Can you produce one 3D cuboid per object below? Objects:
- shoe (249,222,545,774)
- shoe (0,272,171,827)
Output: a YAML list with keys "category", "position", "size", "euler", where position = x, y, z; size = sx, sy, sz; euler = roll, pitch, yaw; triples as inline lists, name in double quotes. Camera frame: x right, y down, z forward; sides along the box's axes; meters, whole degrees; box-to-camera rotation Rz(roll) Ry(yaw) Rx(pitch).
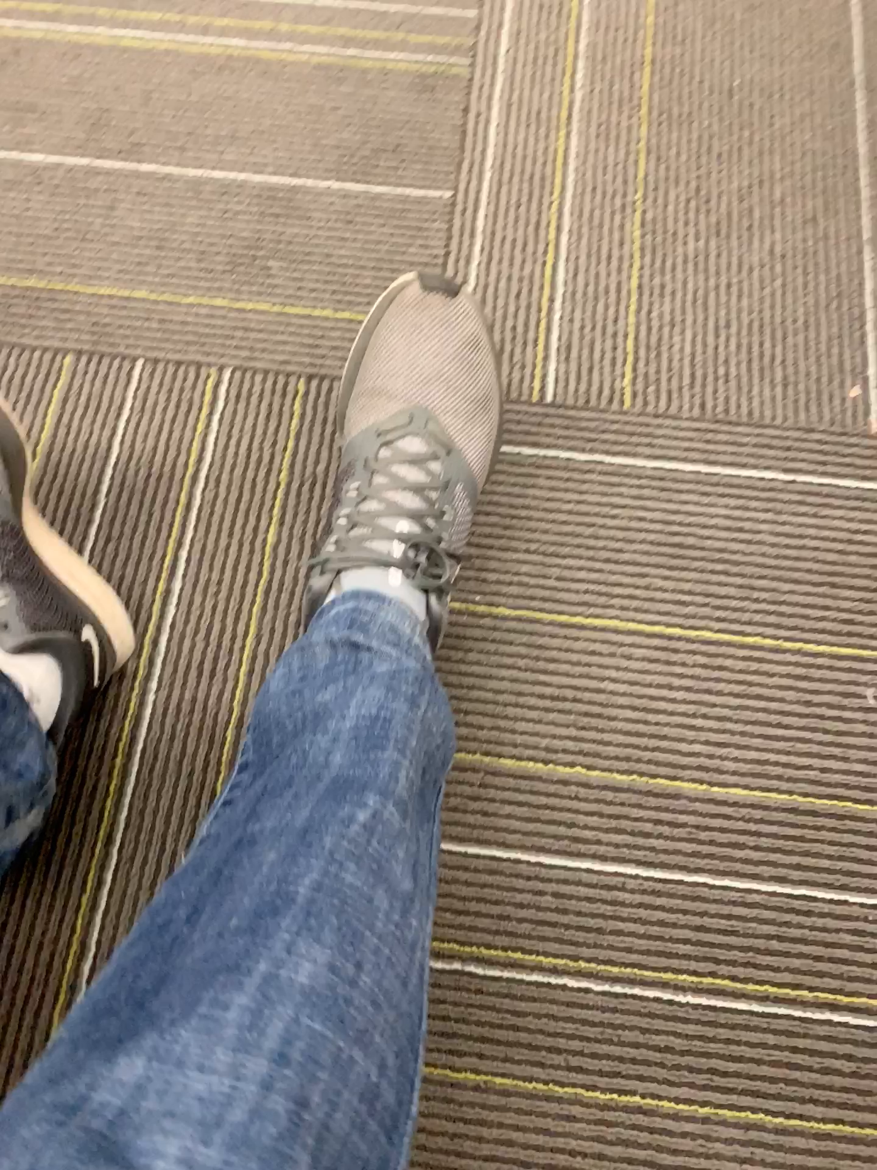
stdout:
- category: "shoe"
  position: [-0.028, -0.053, 0.552]
  size: [0.119, 0.122, 0.294]
  euler: [10, 108, -1]
- category: "shoe"
  position: [-0.285, -0.008, 0.532]
  size: [0.119, 0.293, 0.122]
  euler: [-13, 36, 5]
